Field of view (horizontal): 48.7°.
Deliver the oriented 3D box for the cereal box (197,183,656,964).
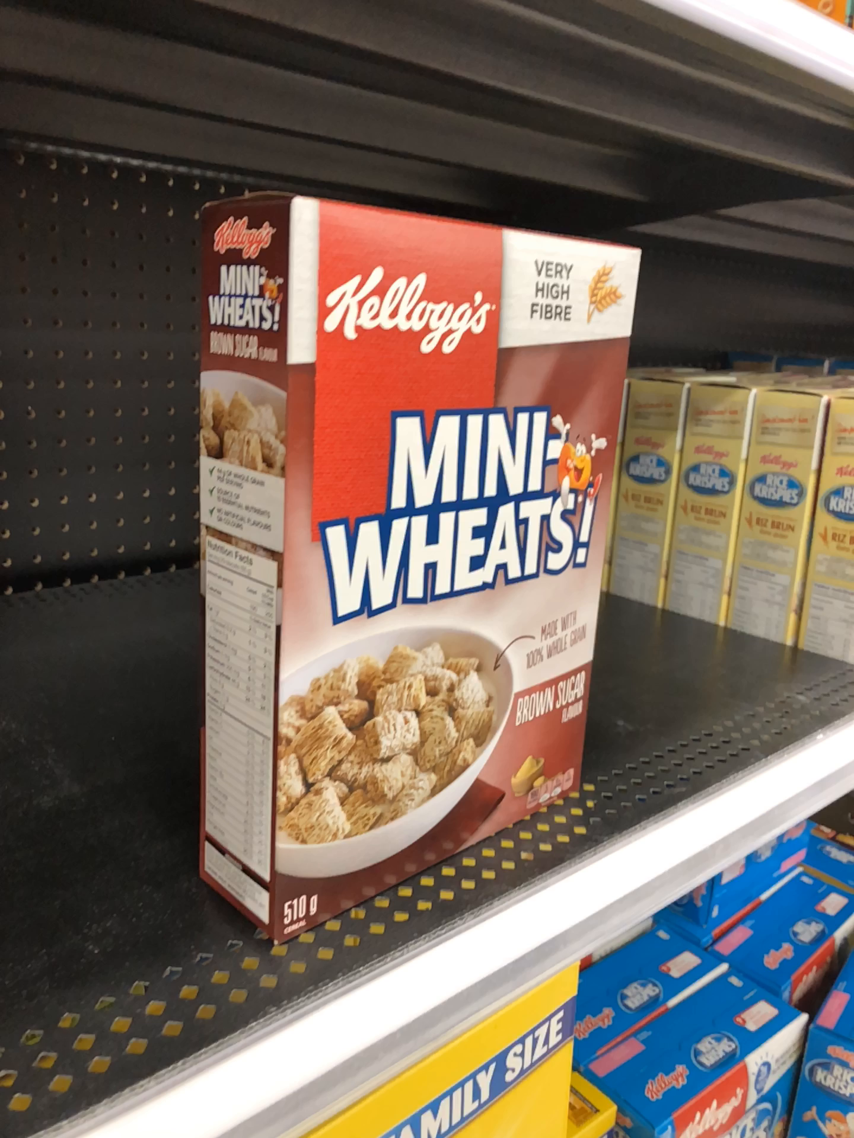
[{"bbox_3d":[0.003,-0.005,0.415,0.200,0.279,0.060,-11,20,-43],"label":"cereal box"}]
